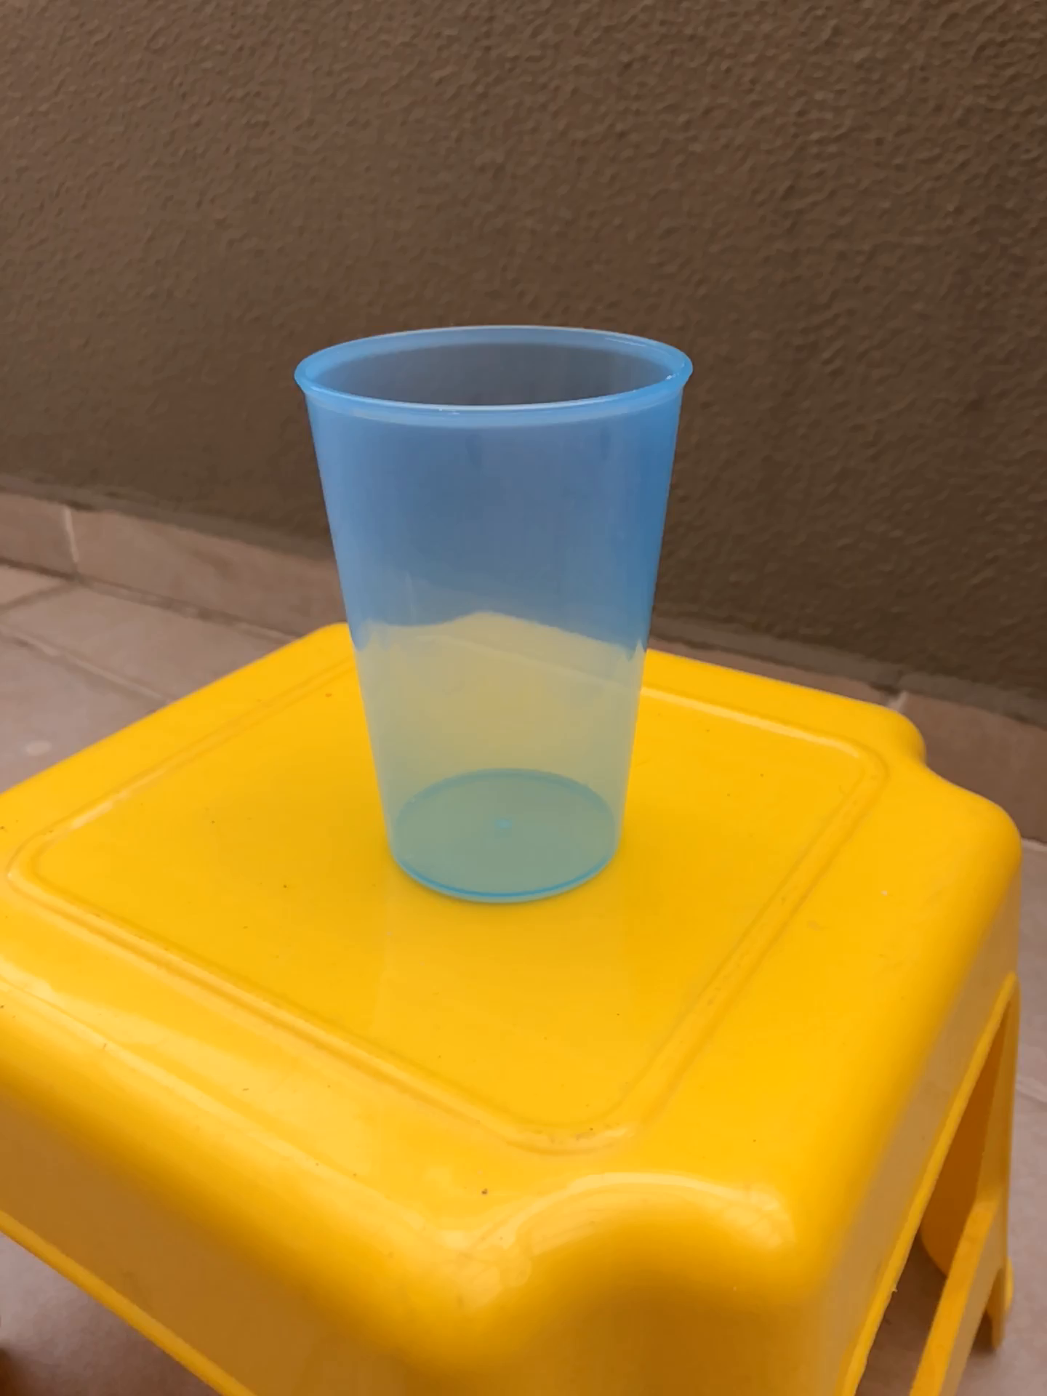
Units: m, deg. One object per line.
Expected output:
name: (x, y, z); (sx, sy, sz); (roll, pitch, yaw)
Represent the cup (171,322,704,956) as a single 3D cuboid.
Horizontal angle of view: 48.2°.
cup: (-0.012, -0.019, 0.245); (0.070, 0.099, 0.080); (12, 29, 25)
